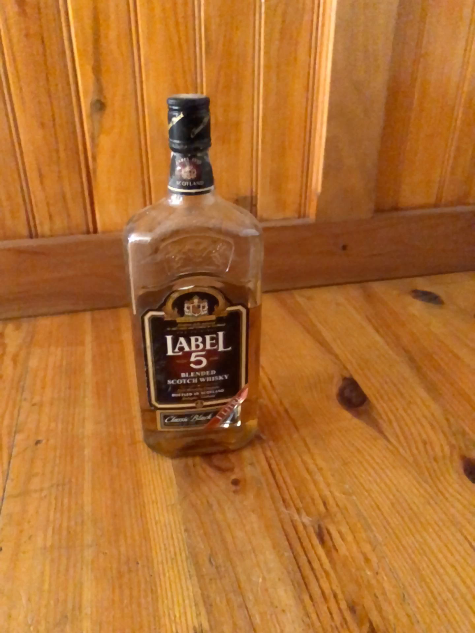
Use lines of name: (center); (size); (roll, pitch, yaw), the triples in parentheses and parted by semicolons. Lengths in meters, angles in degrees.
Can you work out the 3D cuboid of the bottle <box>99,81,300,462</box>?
bottle: (-0.028, -0.025, 0.419); (0.120, 0.288, 0.080); (-4, 30, -8)
